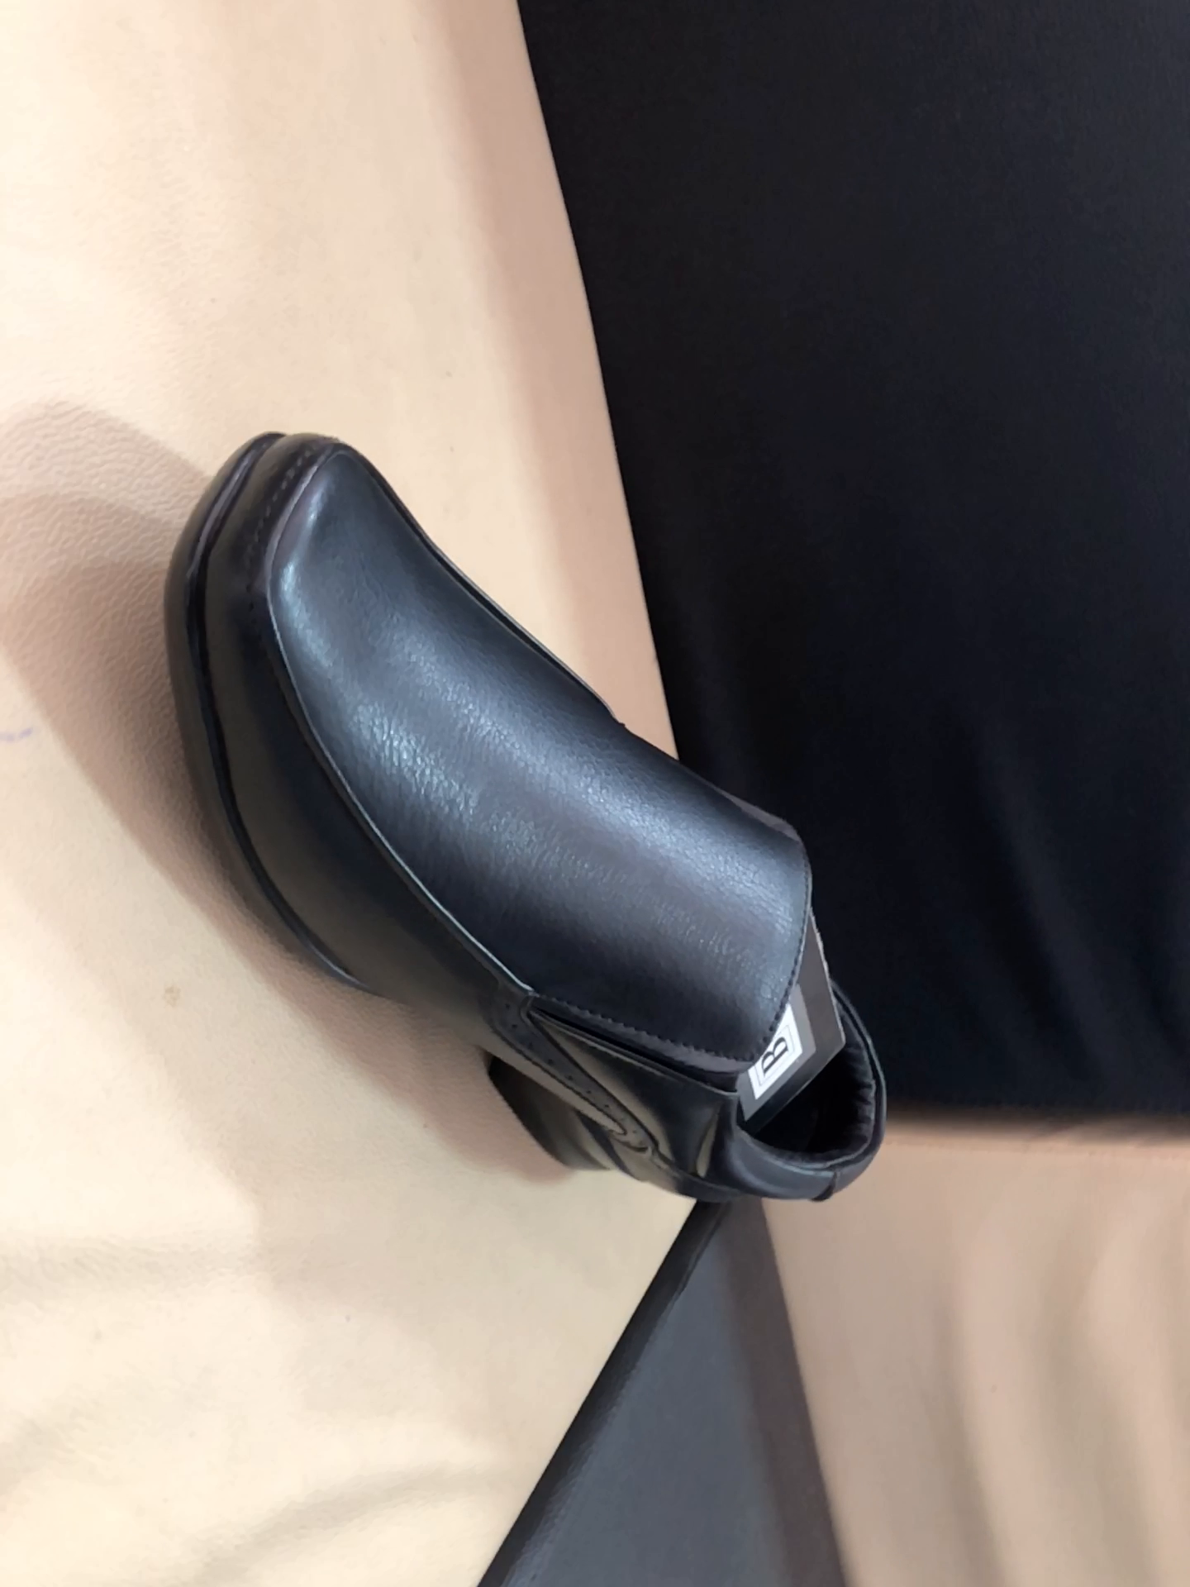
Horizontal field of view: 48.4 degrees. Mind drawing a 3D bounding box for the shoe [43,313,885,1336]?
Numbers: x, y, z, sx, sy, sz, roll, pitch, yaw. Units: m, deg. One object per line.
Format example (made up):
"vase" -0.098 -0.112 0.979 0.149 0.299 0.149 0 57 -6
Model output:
"shoe" 0.001 0.034 0.348 0.282 0.069 0.110 58 39 -43
